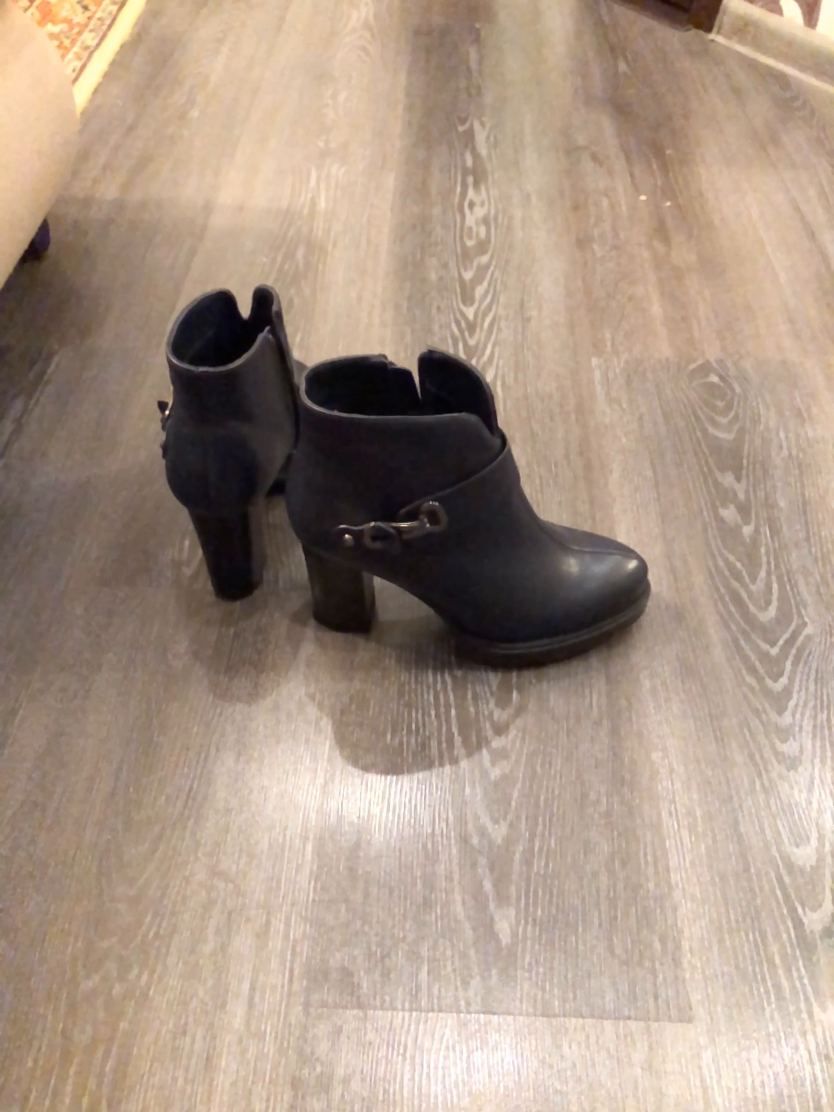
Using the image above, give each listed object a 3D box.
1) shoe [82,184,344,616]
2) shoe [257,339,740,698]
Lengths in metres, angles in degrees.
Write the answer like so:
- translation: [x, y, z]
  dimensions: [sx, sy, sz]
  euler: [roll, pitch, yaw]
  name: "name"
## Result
- translation: [-0.118, -0.109, 0.622]
  dimensions: [0.090, 0.179, 0.231]
  euler: [4, 48, 4]
  name: "shoe"
- translation: [0.041, -0.015, 0.544]
  dimensions: [0.230, 0.199, 0.091]
  euler: [2, 48, 3]
  name: "shoe"
